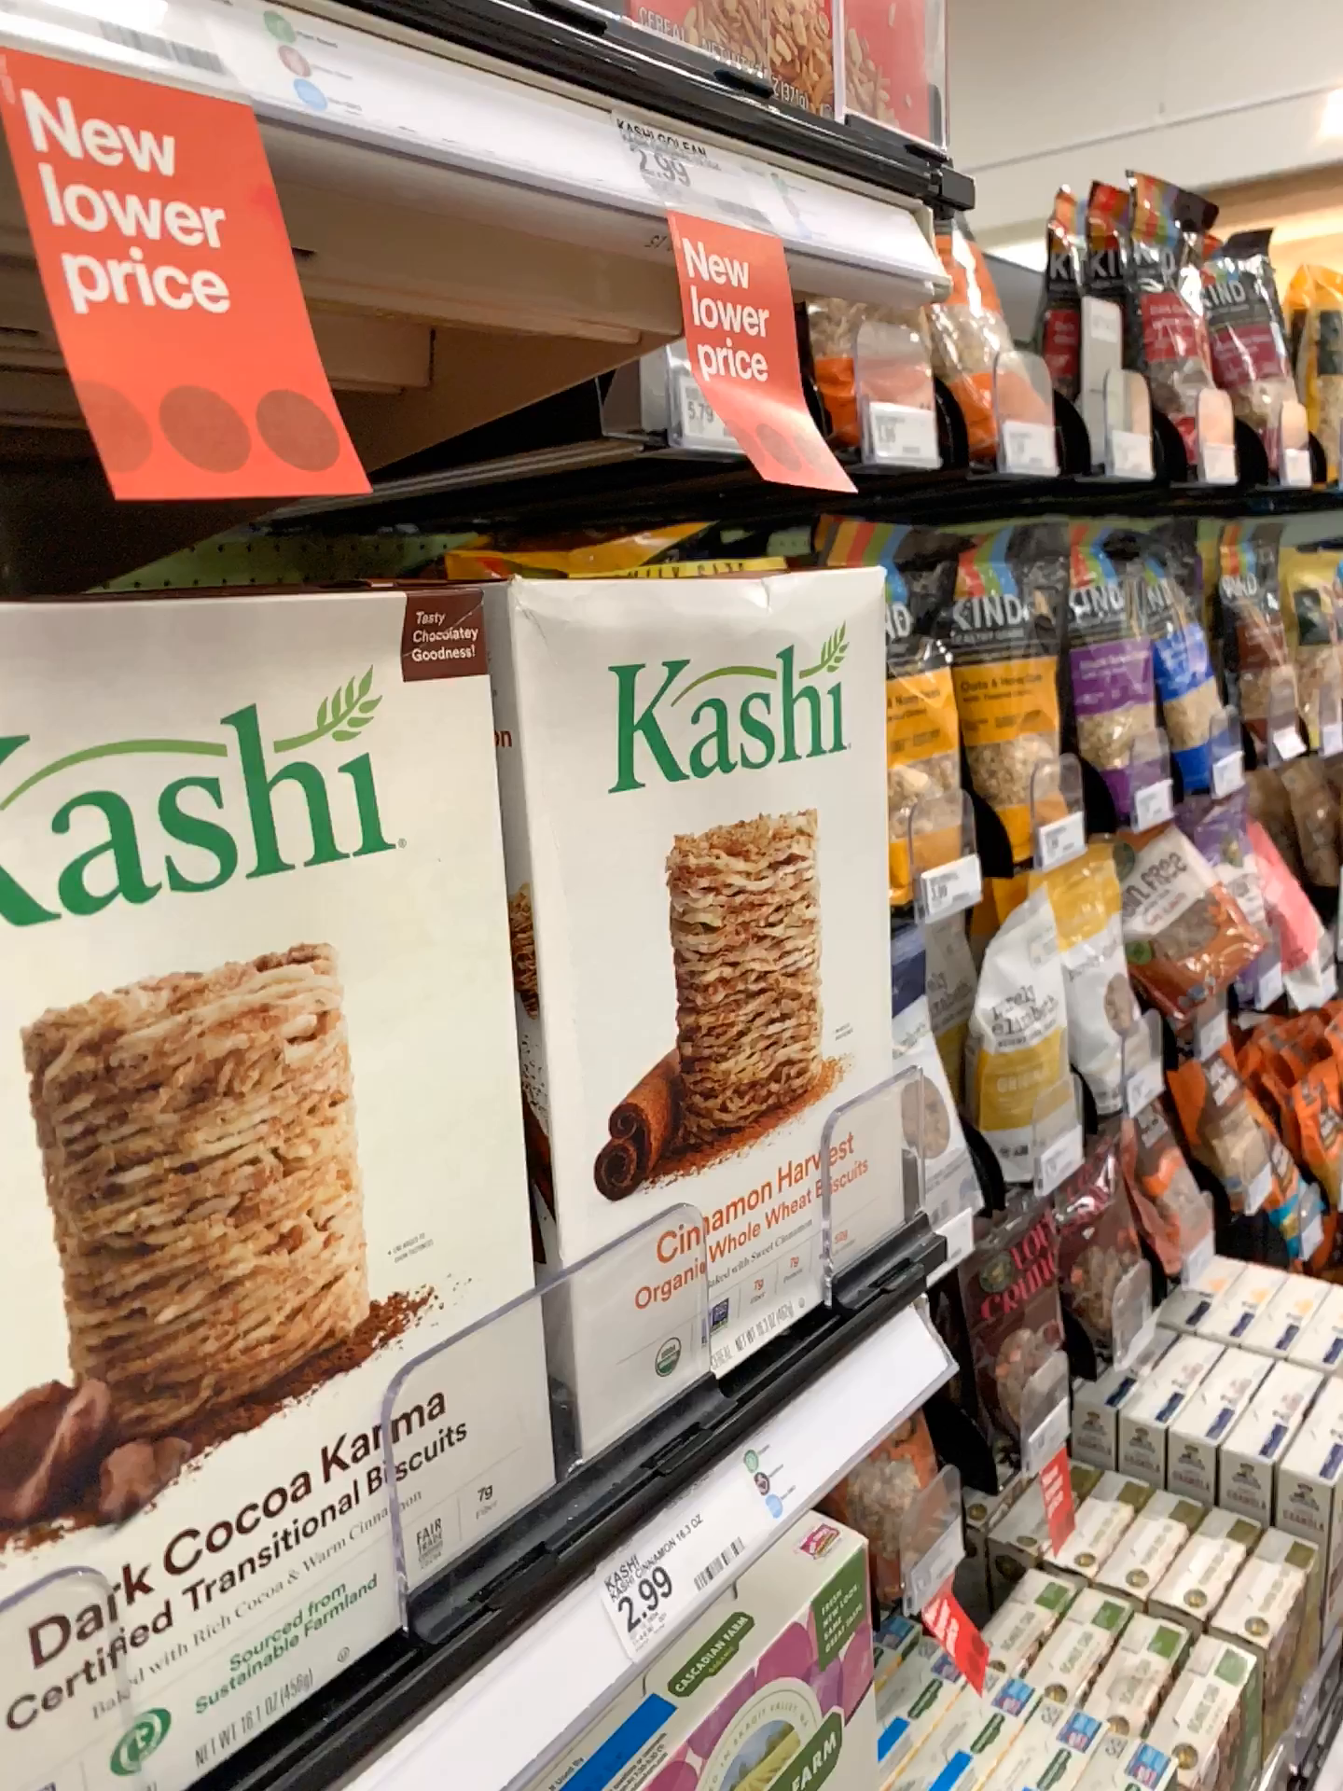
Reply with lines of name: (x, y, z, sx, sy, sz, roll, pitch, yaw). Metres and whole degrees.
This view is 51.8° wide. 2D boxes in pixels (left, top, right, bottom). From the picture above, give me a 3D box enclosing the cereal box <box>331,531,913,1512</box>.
cereal box: (-0.001, 0.022, 0.473, 0.070, 0.279, 0.190, 5, 14, 39)
